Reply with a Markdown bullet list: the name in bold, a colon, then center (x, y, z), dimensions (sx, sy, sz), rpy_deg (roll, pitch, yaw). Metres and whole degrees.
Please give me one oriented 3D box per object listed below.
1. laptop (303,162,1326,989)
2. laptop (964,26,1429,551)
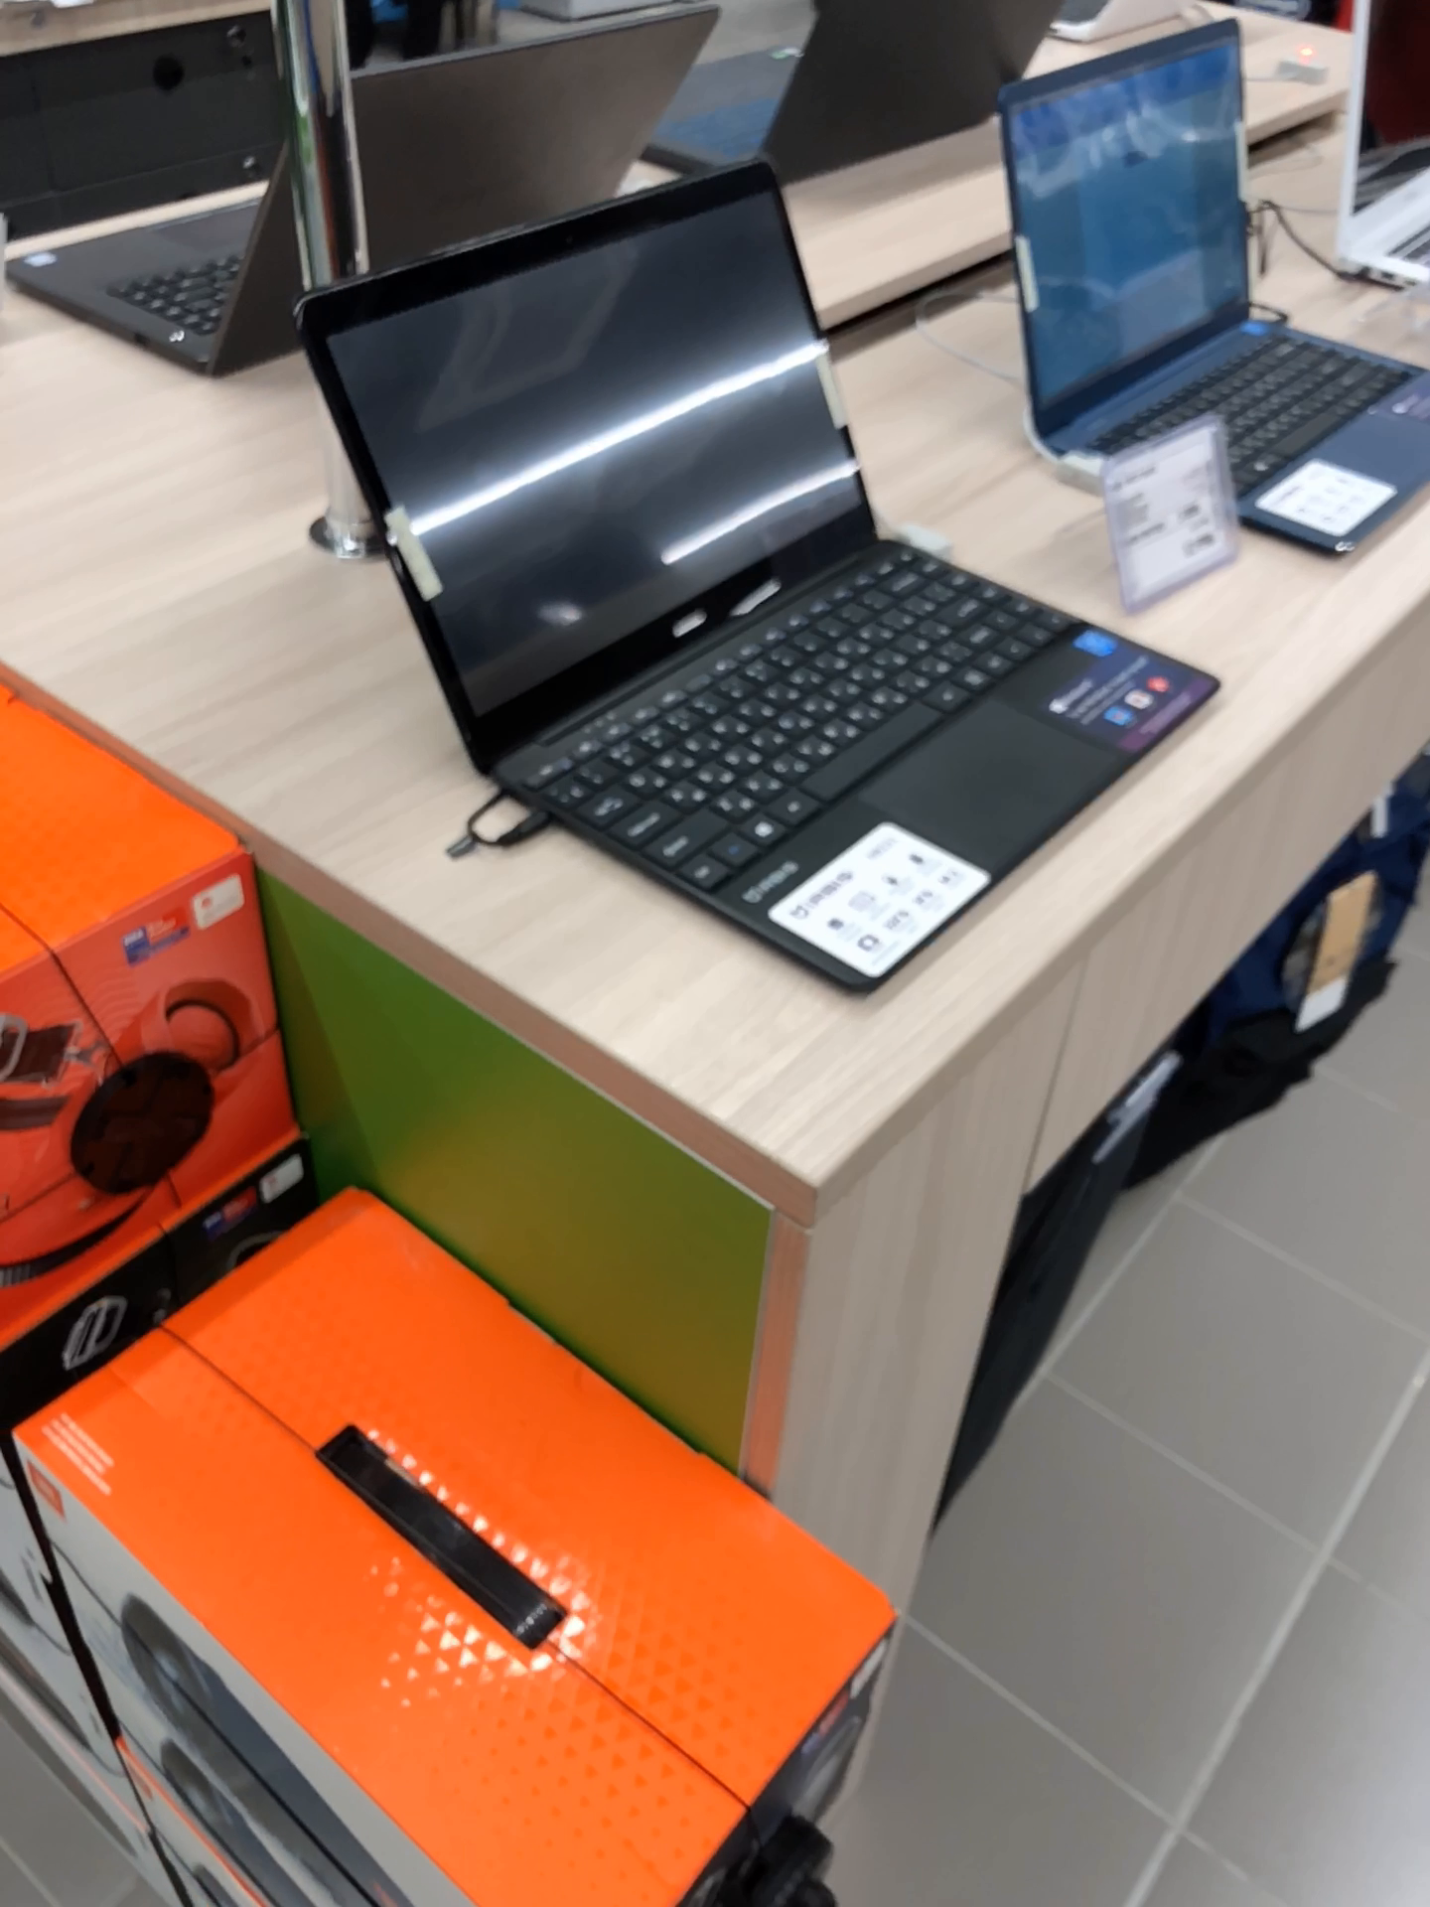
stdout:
- **laptop**: center (0.044, -0.197, 0.715), dimensions (0.306, 0.172, 0.305), rpy_deg (31, 48, 26)
- **laptop**: center (0.364, -0.438, 1.009), dimensions (0.266, 0.186, 0.309), rpy_deg (30, 48, 28)
